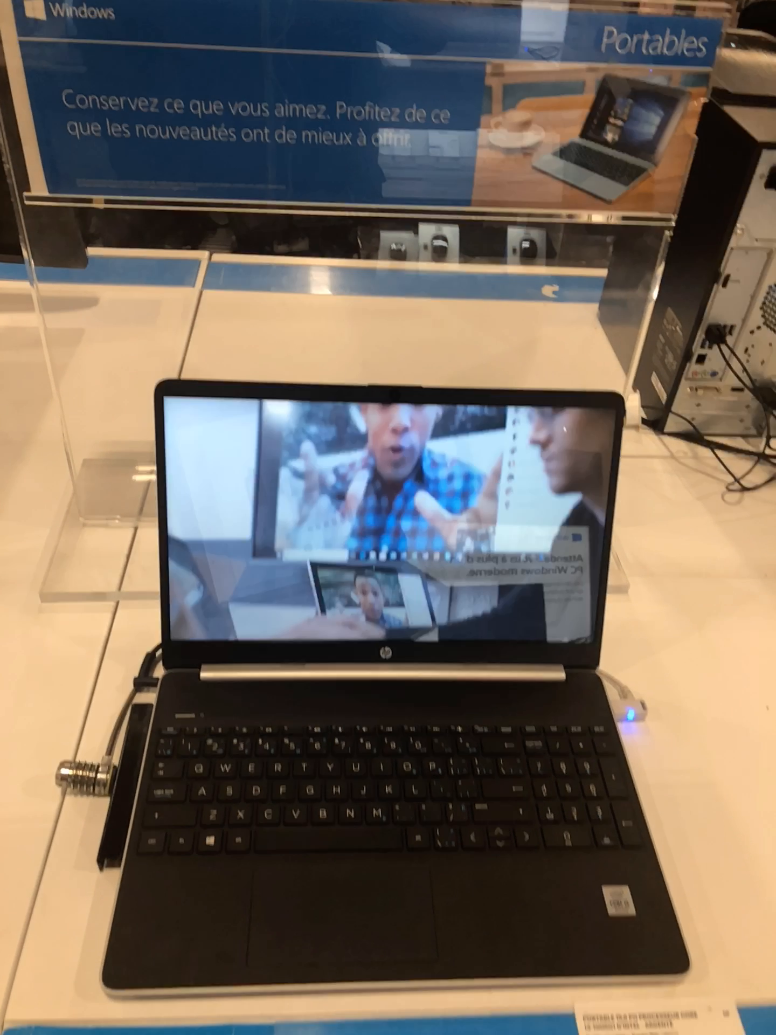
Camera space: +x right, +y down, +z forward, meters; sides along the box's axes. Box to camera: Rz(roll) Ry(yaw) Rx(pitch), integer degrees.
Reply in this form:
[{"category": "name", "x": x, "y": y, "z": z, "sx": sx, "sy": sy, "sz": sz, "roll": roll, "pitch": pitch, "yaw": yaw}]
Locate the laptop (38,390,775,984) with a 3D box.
[{"category": "laptop", "x": 0.008, "y": 0.089, "z": 0.577, "sx": 0.346, "sy": 0.196, "sz": 0.335, "roll": 1, "pitch": 39, "yaw": -5}]
